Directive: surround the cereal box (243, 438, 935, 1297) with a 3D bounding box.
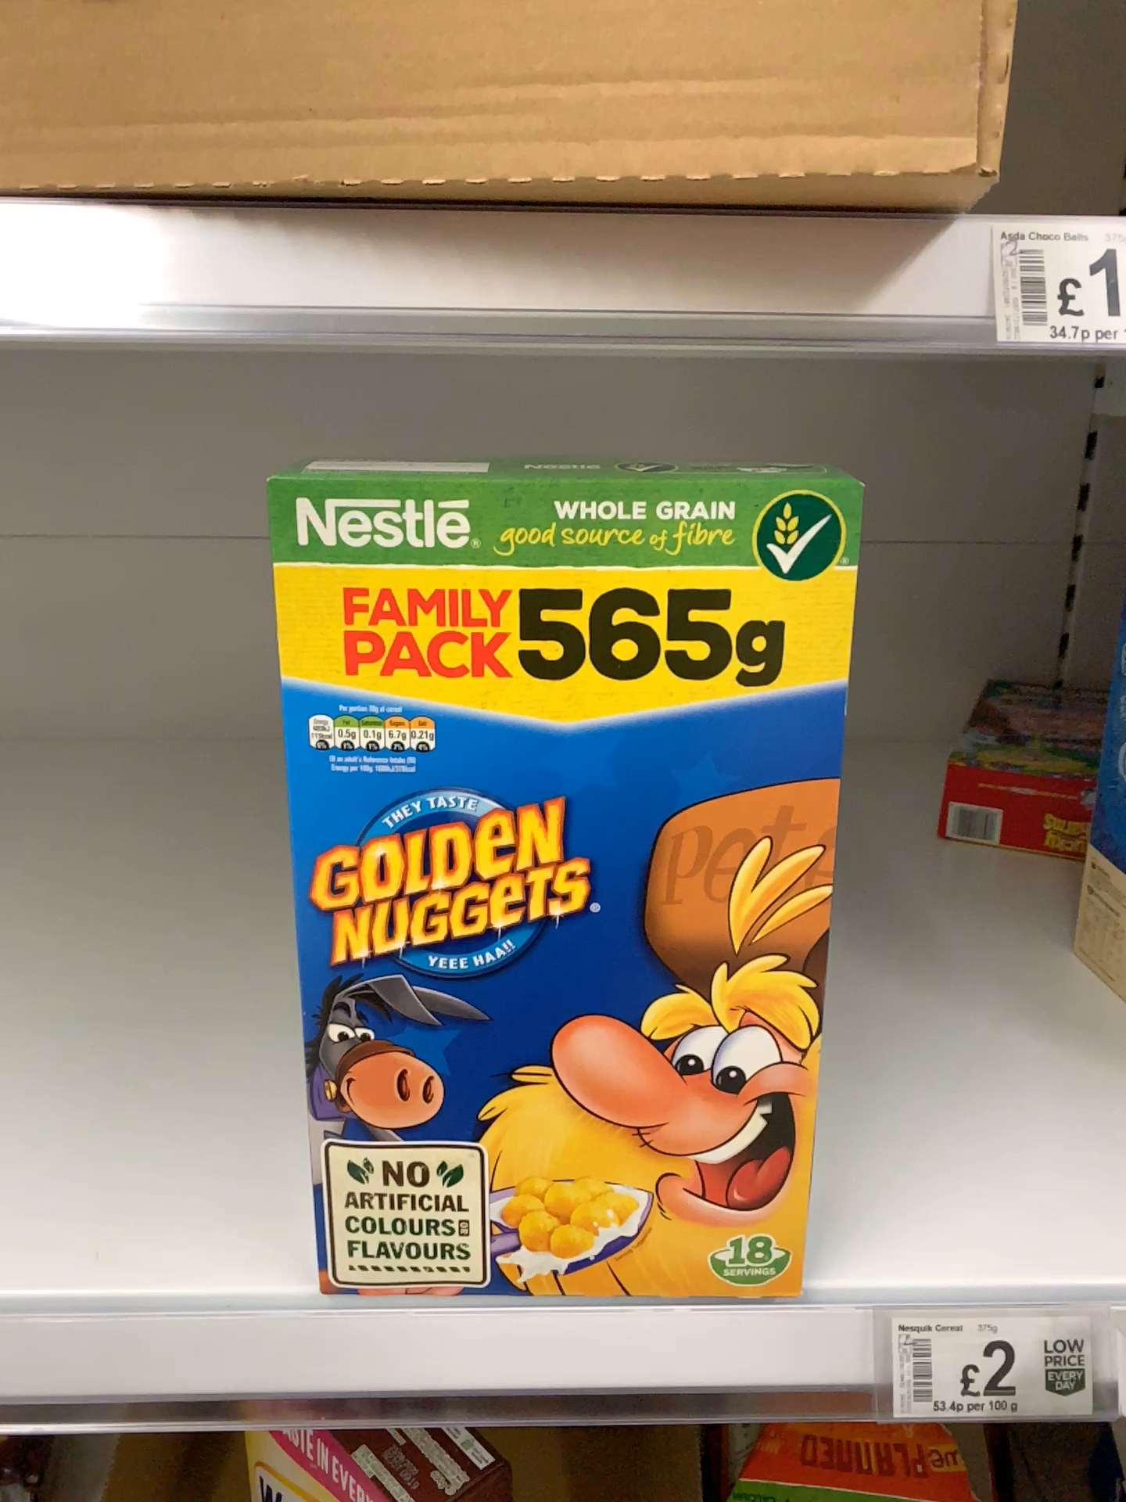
[{"bbox_3d":[0.006,0.045,0.439,0.210,0.308,0.091,1,17,0],"label":"cereal box"}]
